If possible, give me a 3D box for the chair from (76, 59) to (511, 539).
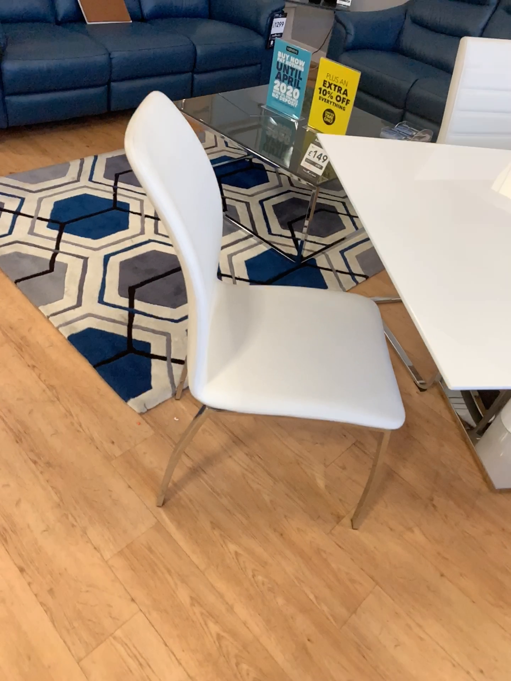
[{"bbox_3d":[0.043,-0.033,1.176,0.670,0.881,0.495,9,42,-3],"label":"chair"}]
